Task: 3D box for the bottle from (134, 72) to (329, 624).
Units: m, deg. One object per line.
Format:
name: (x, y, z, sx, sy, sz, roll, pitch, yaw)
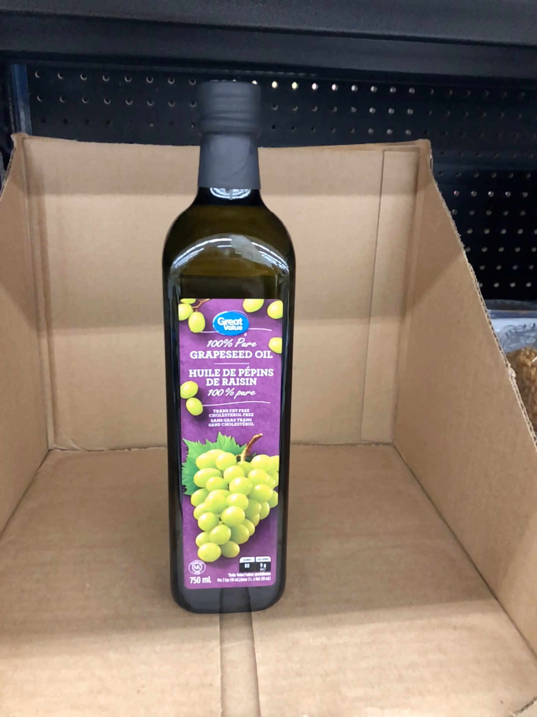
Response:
bottle: (-0.021, 0.005, 0.317, 0.080, 0.278, 0.060, 0, 19, -6)
